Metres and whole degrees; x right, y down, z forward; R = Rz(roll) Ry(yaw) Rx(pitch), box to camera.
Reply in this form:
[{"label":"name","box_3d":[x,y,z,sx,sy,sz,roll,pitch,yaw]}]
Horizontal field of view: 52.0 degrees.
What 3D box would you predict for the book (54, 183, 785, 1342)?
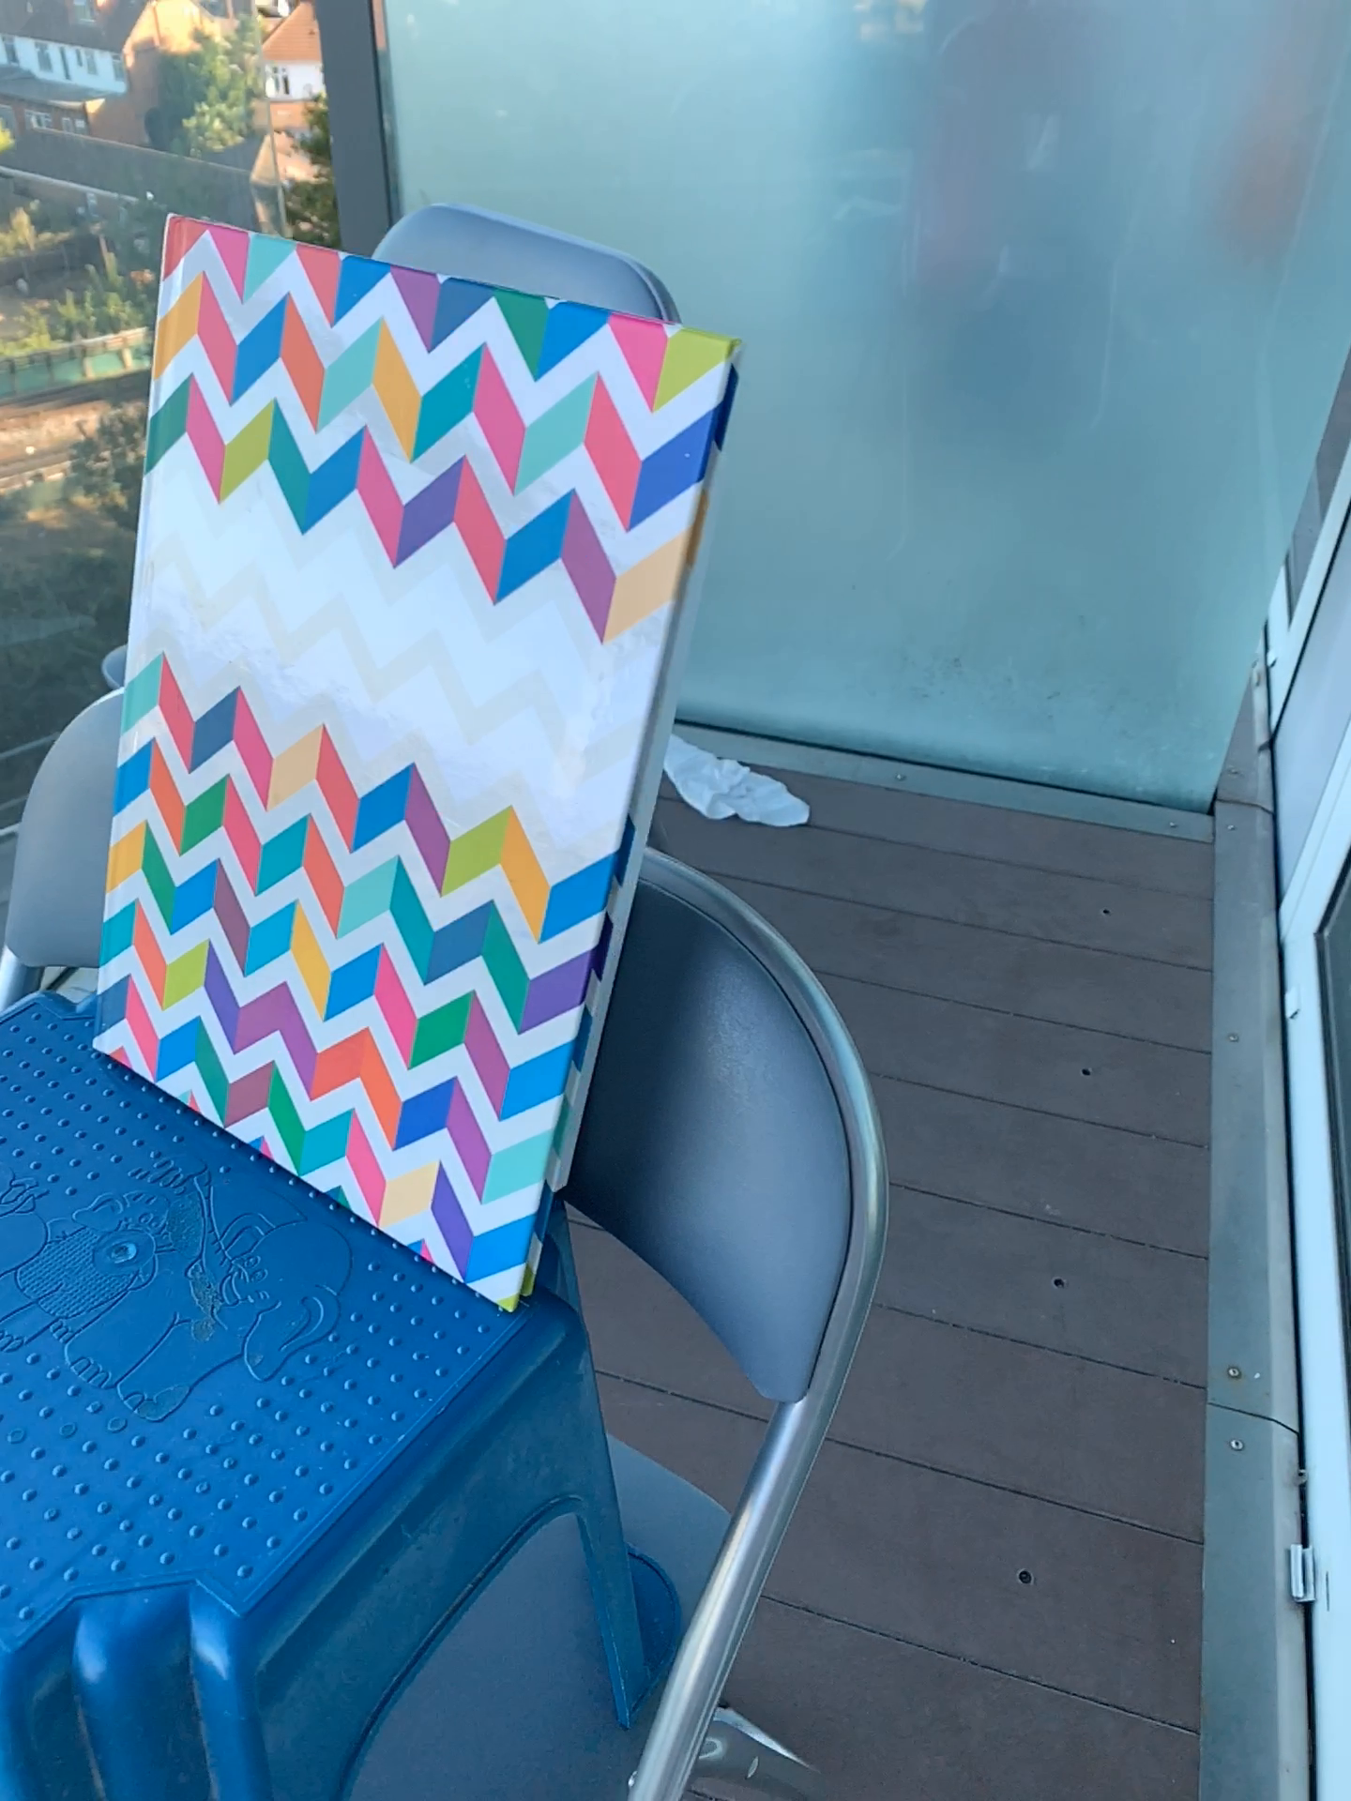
[{"label":"book","box_3d":[-0.100,-0.044,0.423,0.211,0.289,0.030,25,22,27]}]
